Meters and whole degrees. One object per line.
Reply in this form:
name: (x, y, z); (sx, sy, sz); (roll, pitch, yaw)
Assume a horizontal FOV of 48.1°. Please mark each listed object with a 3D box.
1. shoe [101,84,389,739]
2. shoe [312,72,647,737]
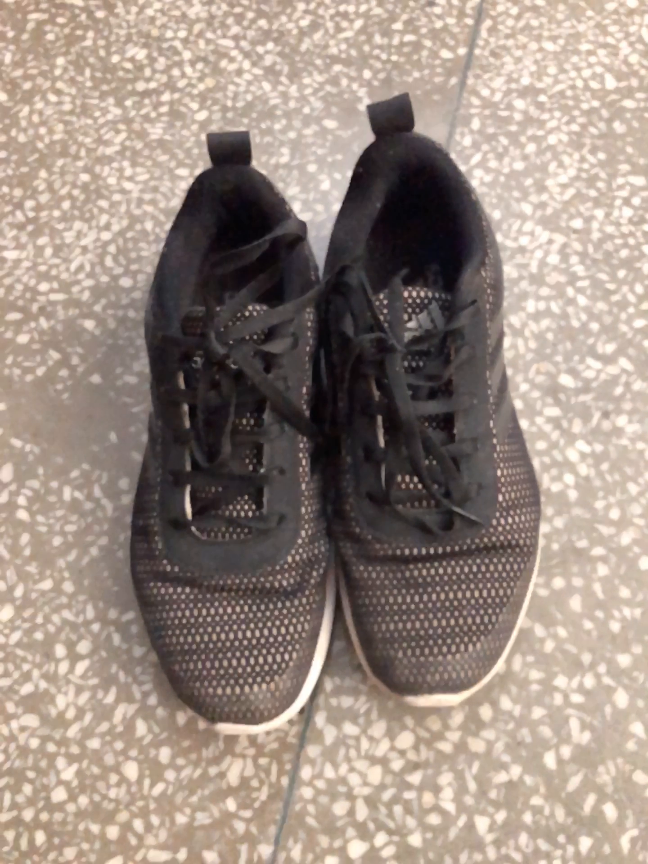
shoe: (-0.035, -0.015, 0.335); (0.100, 0.080, 0.280); (-5, 70, 2)
shoe: (0.051, -0.017, 0.317); (0.100, 0.080, 0.270); (-3, 70, 3)
